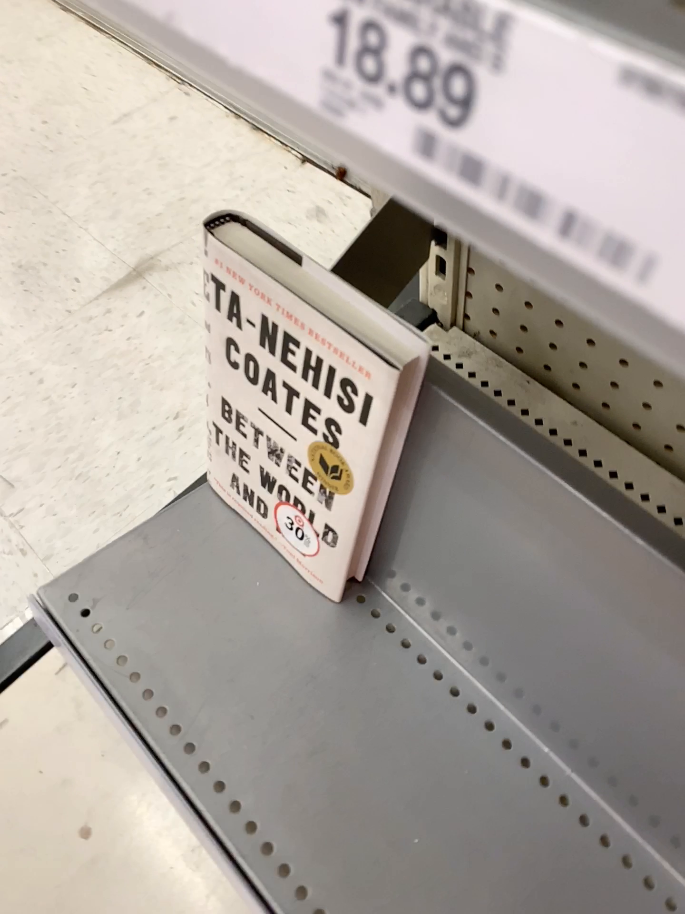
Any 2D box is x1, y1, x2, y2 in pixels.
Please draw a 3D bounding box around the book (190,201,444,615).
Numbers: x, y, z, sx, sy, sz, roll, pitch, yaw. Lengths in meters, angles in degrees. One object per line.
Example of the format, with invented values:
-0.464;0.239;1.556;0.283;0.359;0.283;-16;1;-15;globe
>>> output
-0.027;-0.017;0.372;0.130;0.186;0.030;39;52;25;book
